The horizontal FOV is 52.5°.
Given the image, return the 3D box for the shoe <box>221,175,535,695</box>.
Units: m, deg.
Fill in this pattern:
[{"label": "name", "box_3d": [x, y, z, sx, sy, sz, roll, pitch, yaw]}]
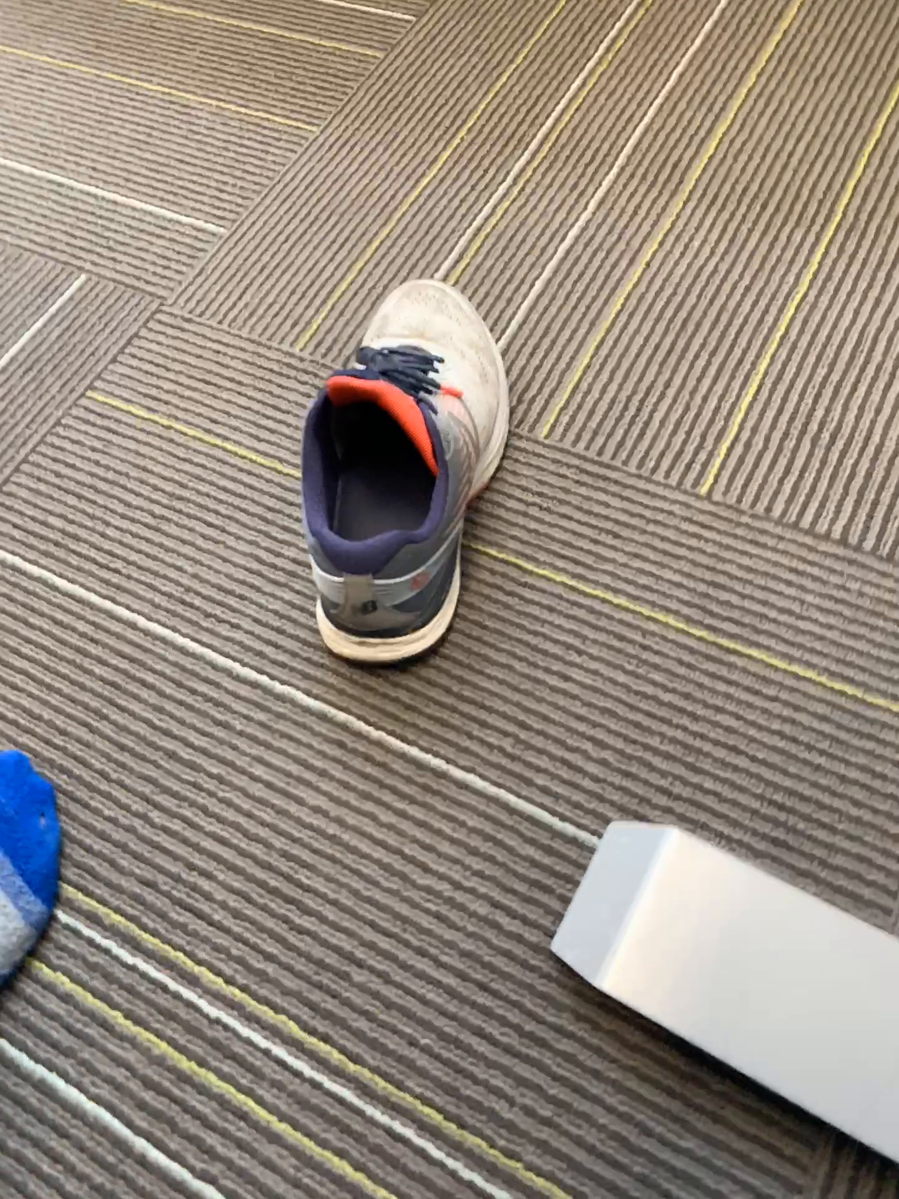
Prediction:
[{"label": "shoe", "box_3d": [-0.025, -0.109, 0.553, 0.110, 0.110, 0.301, 6, 62, 11]}]
